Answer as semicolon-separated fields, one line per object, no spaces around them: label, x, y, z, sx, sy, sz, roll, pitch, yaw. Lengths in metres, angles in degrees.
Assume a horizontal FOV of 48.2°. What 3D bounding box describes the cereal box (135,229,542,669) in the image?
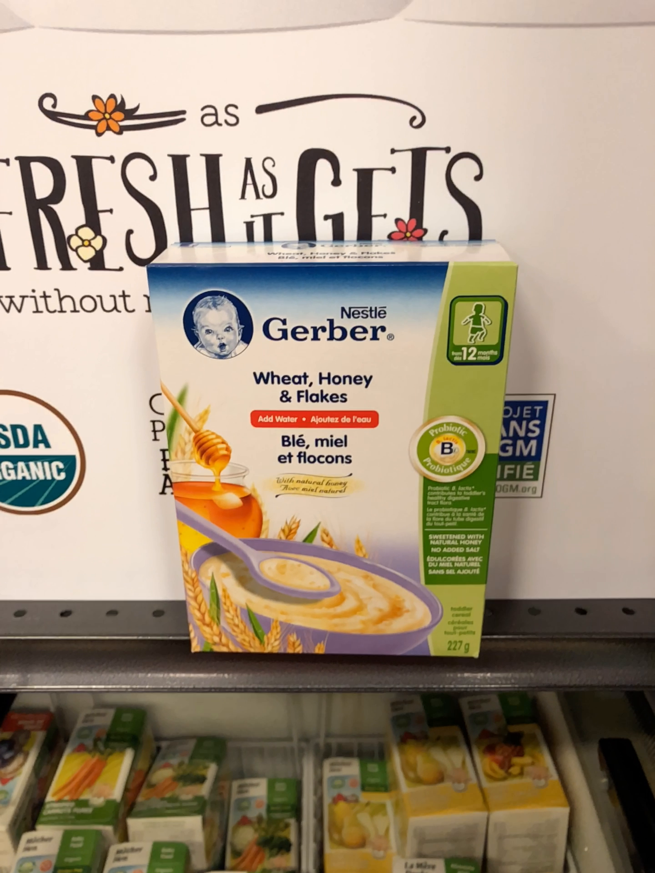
cereal box;0.006;0.012;0.337;0.150;0.199;0.050;1;27;3
